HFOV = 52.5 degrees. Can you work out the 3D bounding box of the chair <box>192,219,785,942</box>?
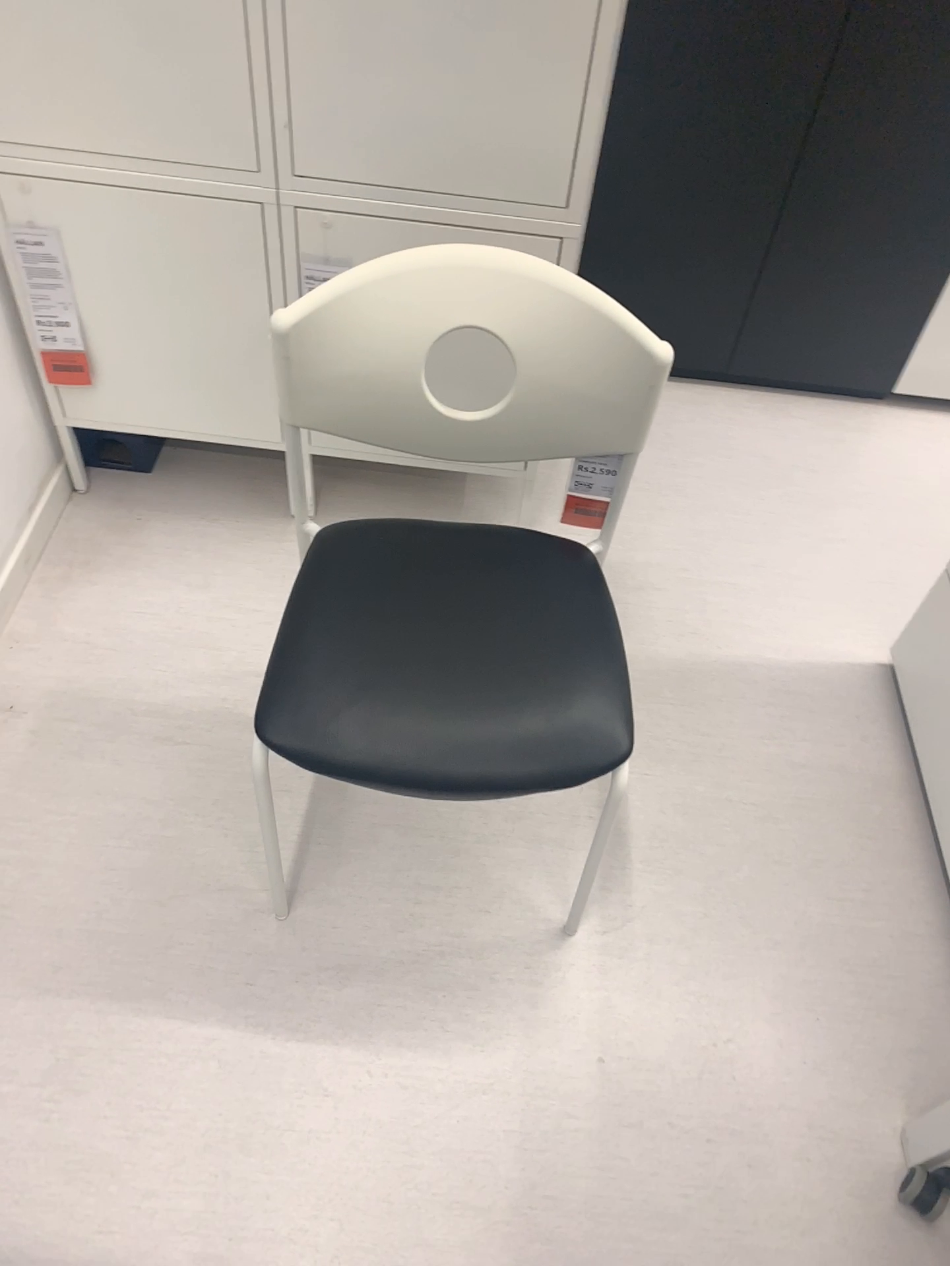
[{"bbox_3d":[-0.017,-0.013,1.234,0.480,0.768,0.512,3,50,-4],"label":"chair"}]
